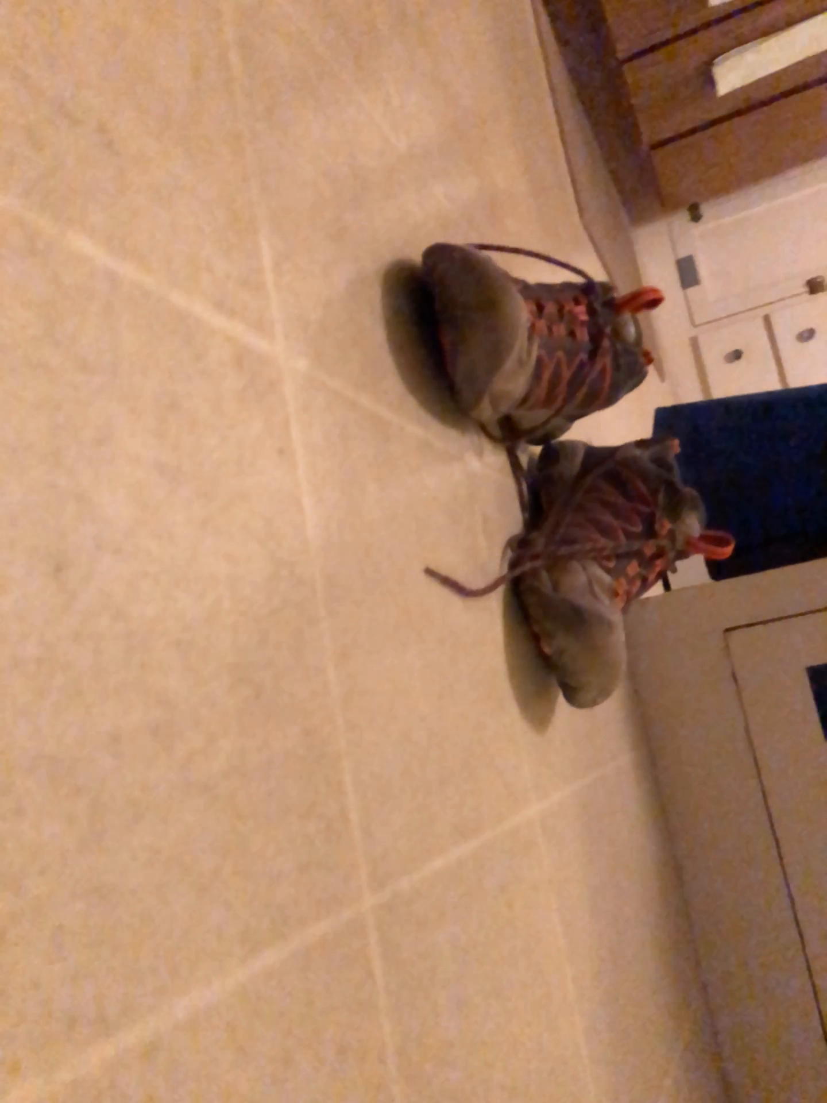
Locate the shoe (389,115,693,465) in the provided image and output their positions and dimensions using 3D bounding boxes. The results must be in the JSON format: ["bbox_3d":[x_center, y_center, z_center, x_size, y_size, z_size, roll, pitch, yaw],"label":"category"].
[{"bbox_3d":[0.109,-0.159,0.648,0.293,0.121,0.127,7,70,-67],"label":"shoe"}]

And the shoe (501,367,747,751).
[{"bbox_3d":[0.160,-0.007,0.687,0.283,0.121,0.127,-73,143,-53],"label":"shoe"}]
